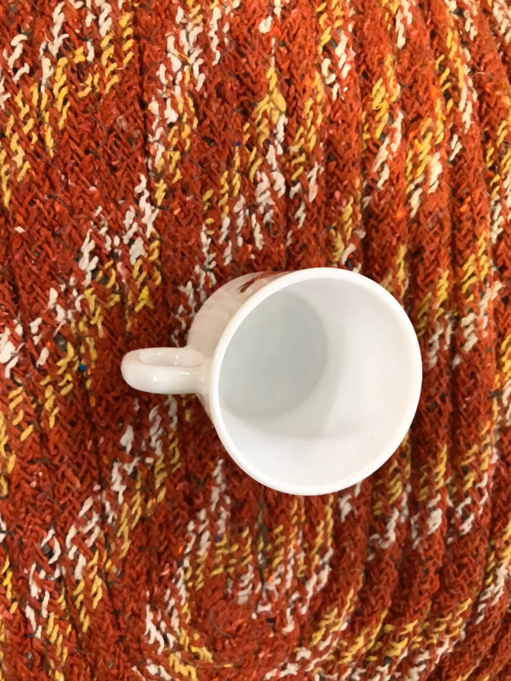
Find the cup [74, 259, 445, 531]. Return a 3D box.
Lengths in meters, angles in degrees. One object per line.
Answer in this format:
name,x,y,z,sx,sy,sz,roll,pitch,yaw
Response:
cup,-0.004,0.007,0.167,0.090,0.060,0.060,-2,99,-17
